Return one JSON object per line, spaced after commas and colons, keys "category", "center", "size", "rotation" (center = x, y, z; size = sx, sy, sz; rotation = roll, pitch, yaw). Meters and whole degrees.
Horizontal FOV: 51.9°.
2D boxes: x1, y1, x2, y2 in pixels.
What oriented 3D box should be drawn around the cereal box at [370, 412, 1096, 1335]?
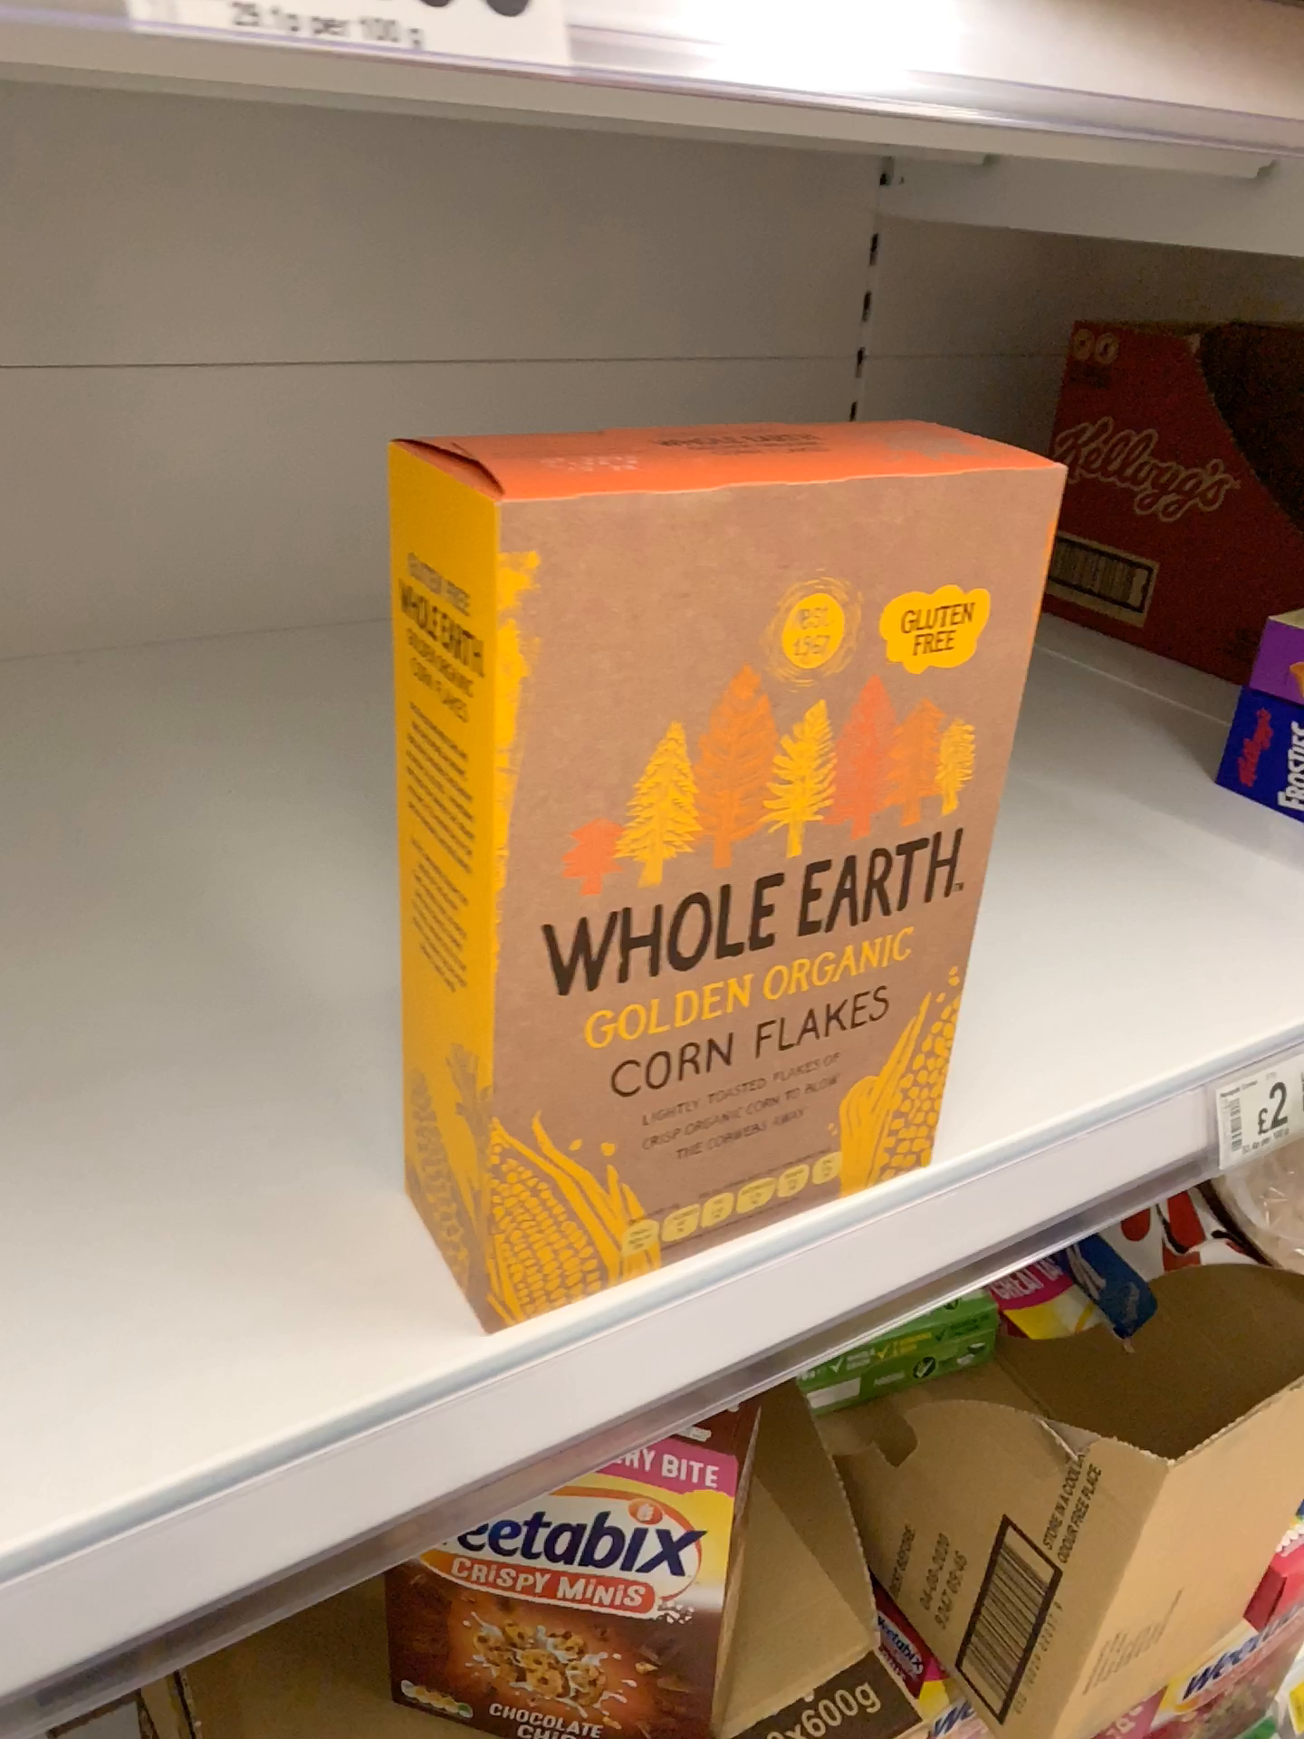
{"category": "cereal box", "center": [0.020, -0.007, 0.457], "size": [0.201, 0.268, 0.090], "rotation": [-12, 30, -29]}
